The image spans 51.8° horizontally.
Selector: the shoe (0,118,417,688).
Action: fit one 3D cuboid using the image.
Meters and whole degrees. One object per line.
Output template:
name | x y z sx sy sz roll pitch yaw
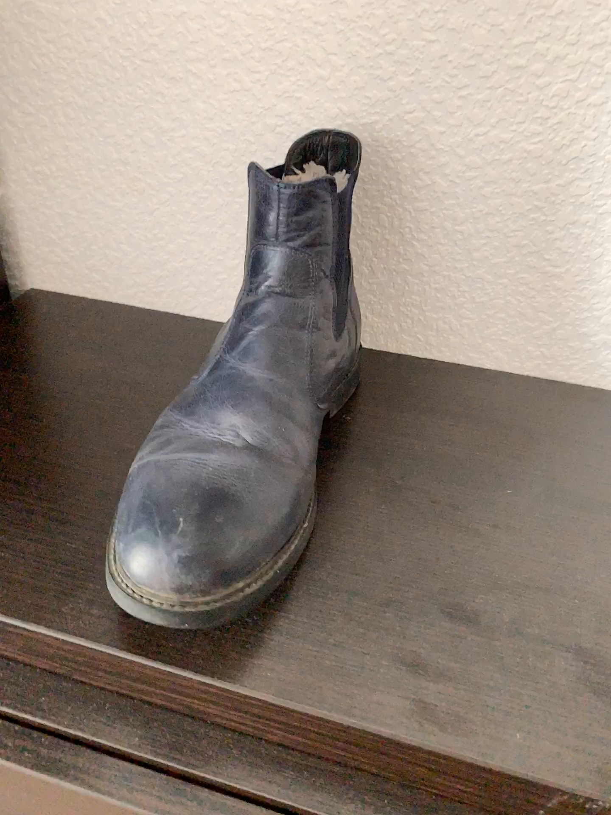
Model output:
shoe | -0.028 -0.041 0.348 0.110 0.159 0.301 12 36 12
